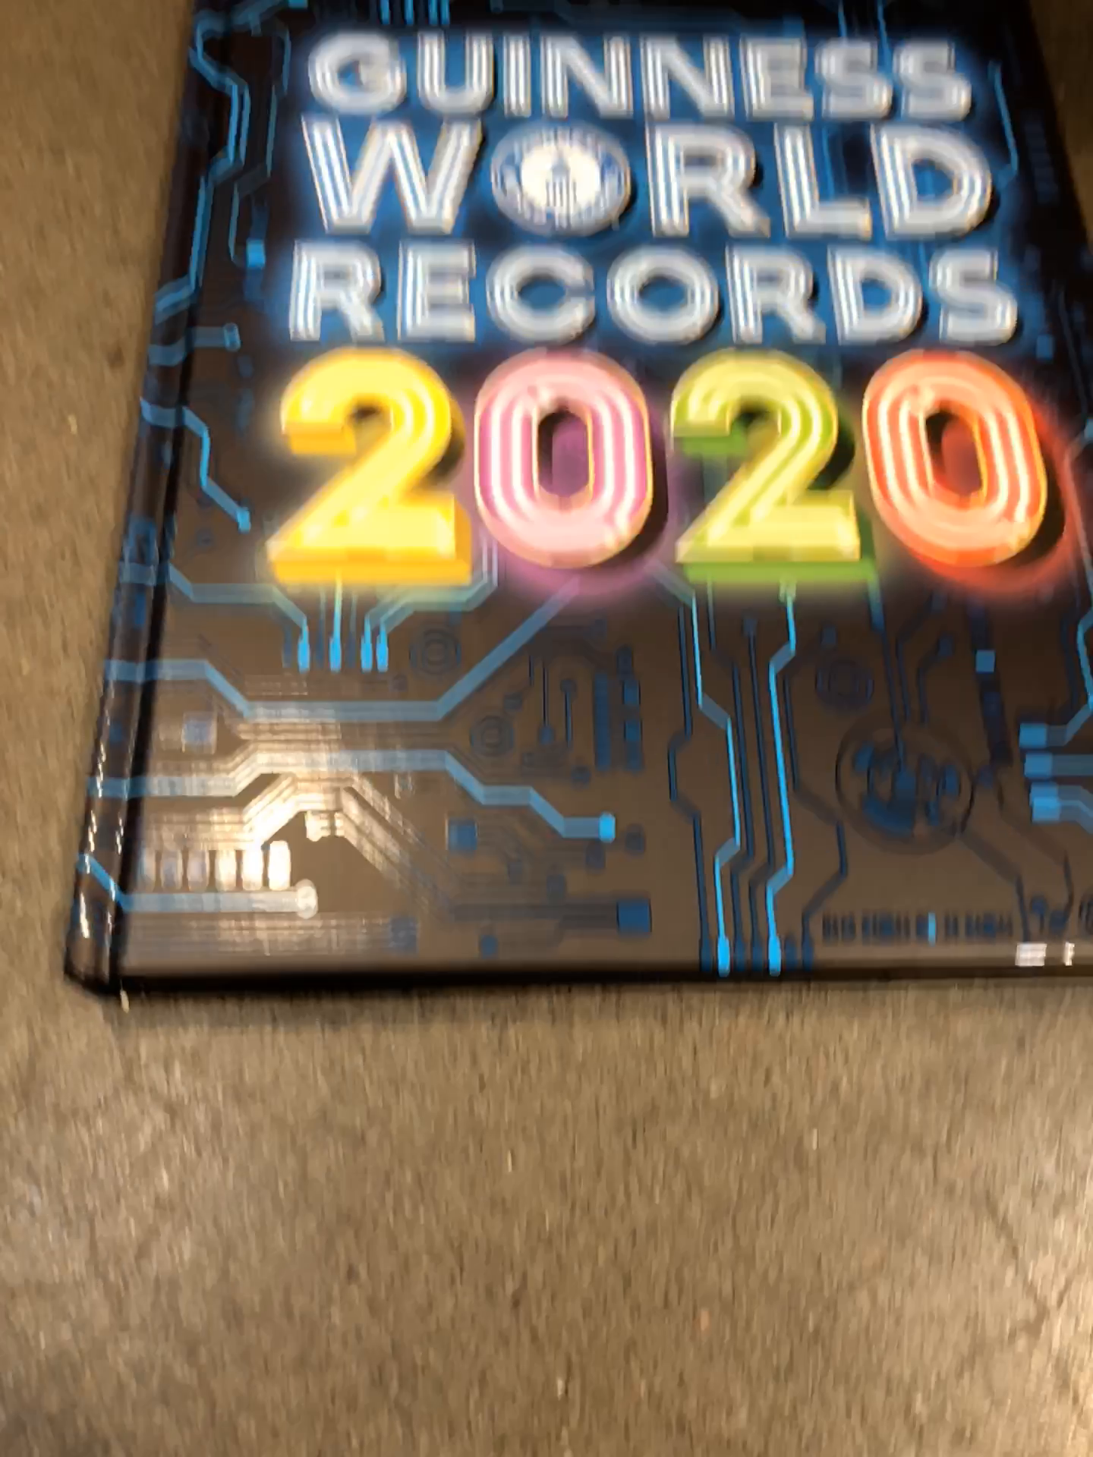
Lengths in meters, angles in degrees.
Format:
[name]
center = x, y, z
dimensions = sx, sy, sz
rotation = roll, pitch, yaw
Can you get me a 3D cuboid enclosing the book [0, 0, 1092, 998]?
[book]
center = 0.019, -0.096, 0.298
dimensions = 0.240, 0.030, 0.312
rotation = 0, 67, -3
